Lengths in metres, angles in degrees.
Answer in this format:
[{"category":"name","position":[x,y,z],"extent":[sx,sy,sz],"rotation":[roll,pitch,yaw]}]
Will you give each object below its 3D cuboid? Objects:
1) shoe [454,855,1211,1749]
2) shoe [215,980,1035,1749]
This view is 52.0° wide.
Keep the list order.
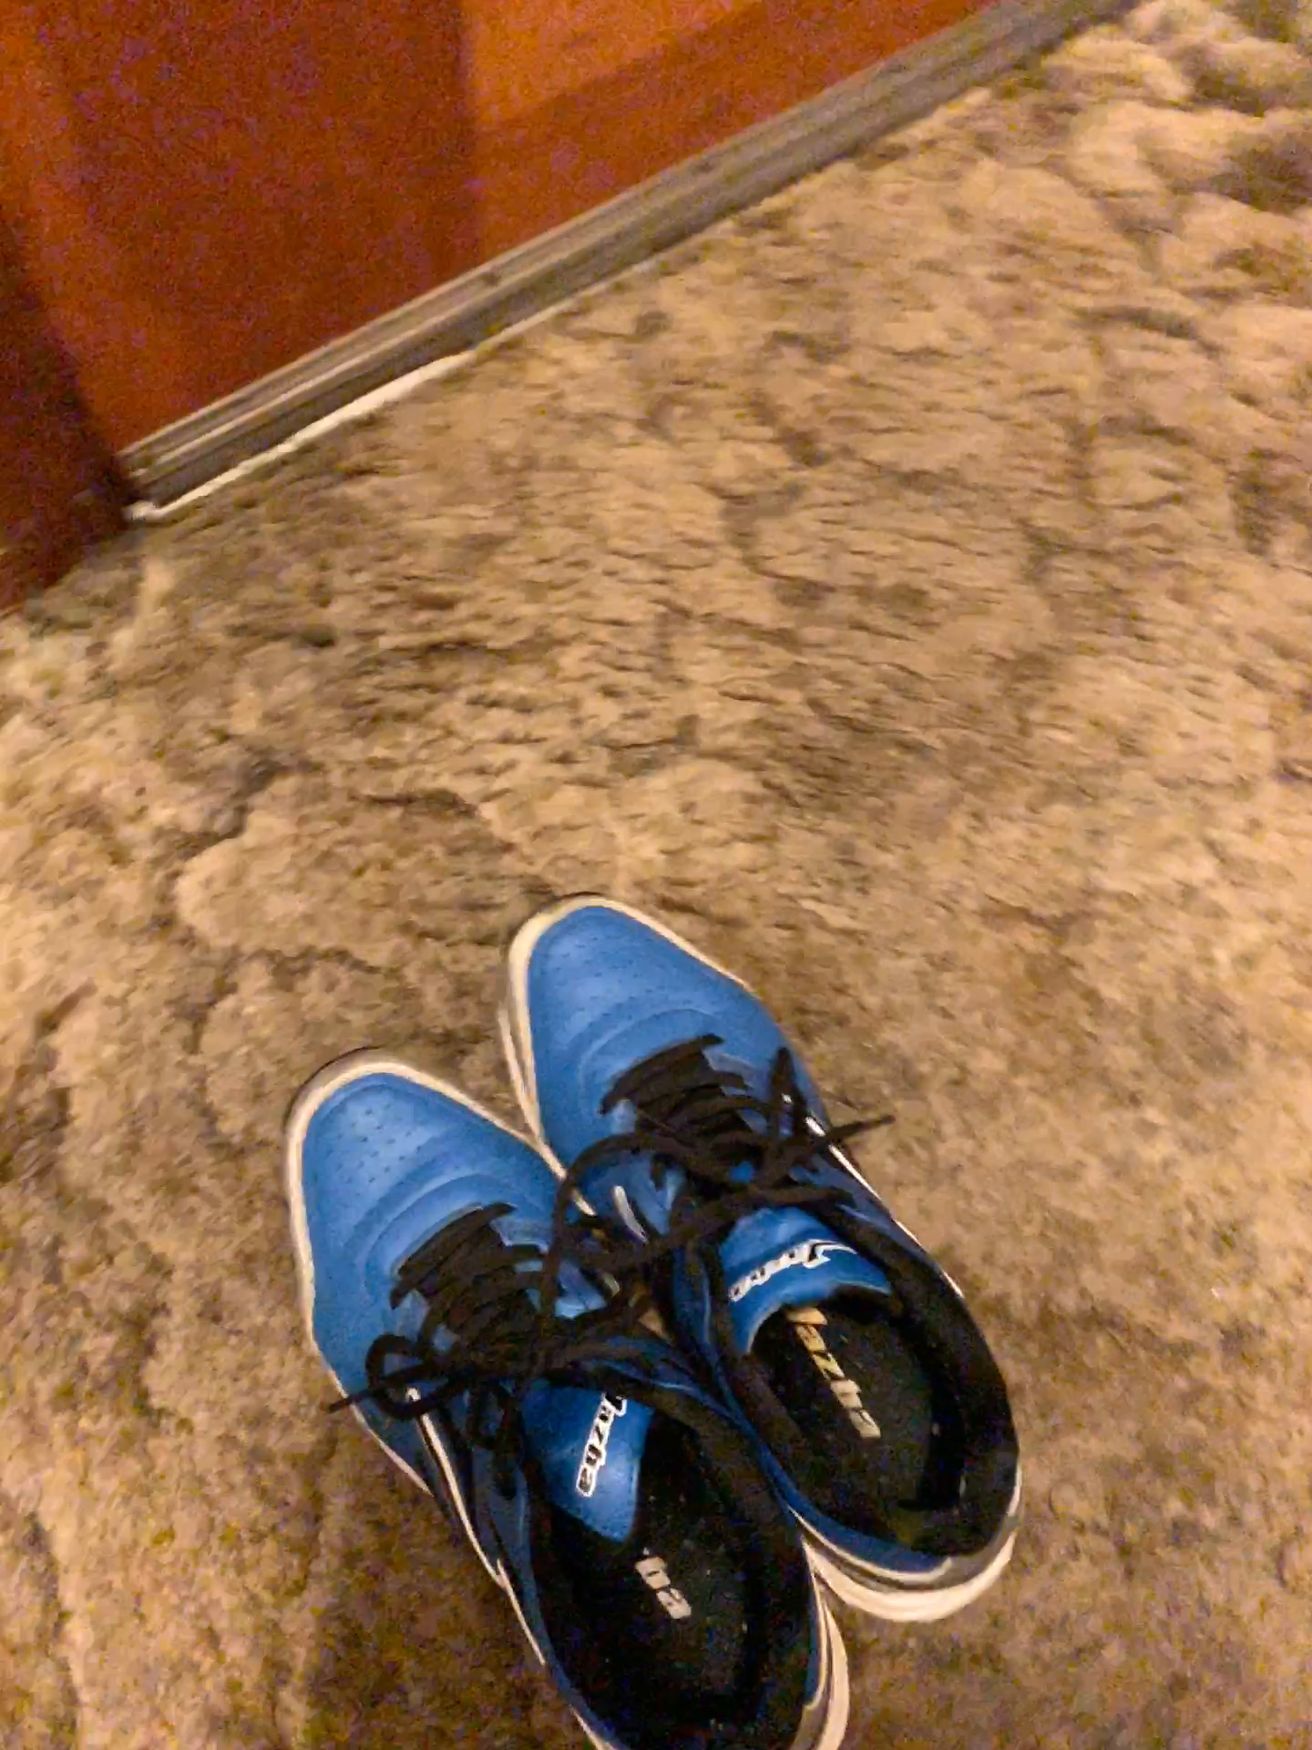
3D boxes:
[{"category":"shoe","position":[0.044,0.151,0.482],"extent":[0.100,0.119,0.281],"rotation":[-28,69,-14]},{"category":"shoe","position":[-0.020,0.187,0.445],"extent":[0.100,0.119,0.271],"rotation":[-33,71,-16]}]
